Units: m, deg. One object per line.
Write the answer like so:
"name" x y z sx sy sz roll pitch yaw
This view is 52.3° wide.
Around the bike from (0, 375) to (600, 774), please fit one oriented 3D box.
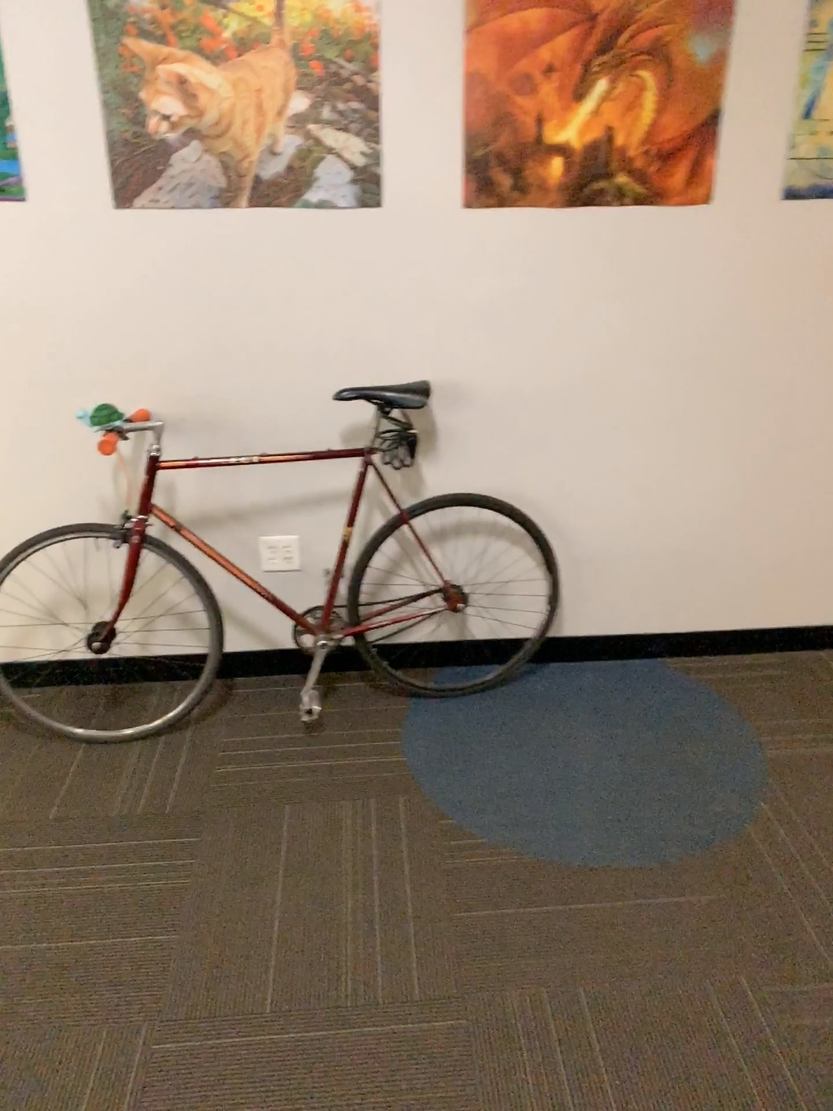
"bike" -0.374 0.020 2.433 1.625 0.909 0.451 -5 24 -10
